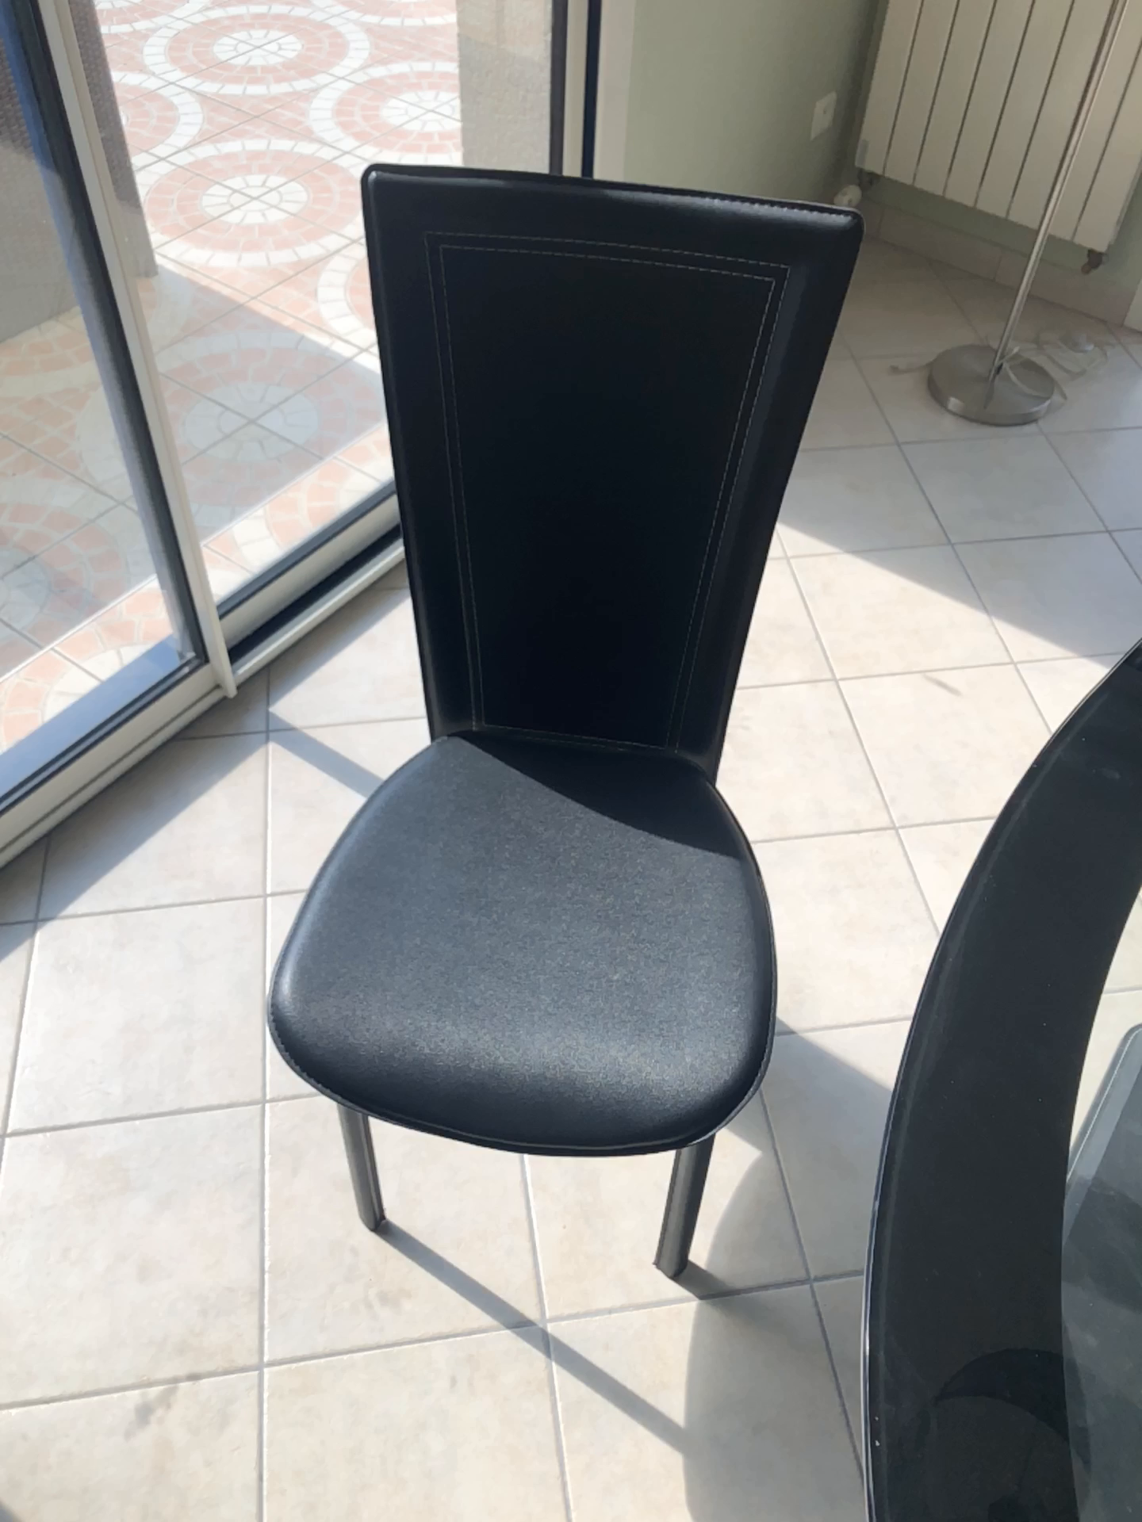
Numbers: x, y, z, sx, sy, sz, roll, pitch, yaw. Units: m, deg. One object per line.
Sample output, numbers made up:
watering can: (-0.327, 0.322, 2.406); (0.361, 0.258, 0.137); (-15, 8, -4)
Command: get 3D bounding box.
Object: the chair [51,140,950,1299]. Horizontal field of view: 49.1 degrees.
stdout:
chair: (-0.023, 0.032, 1.117); (0.450, 0.895, 0.503); (7, 48, 4)
